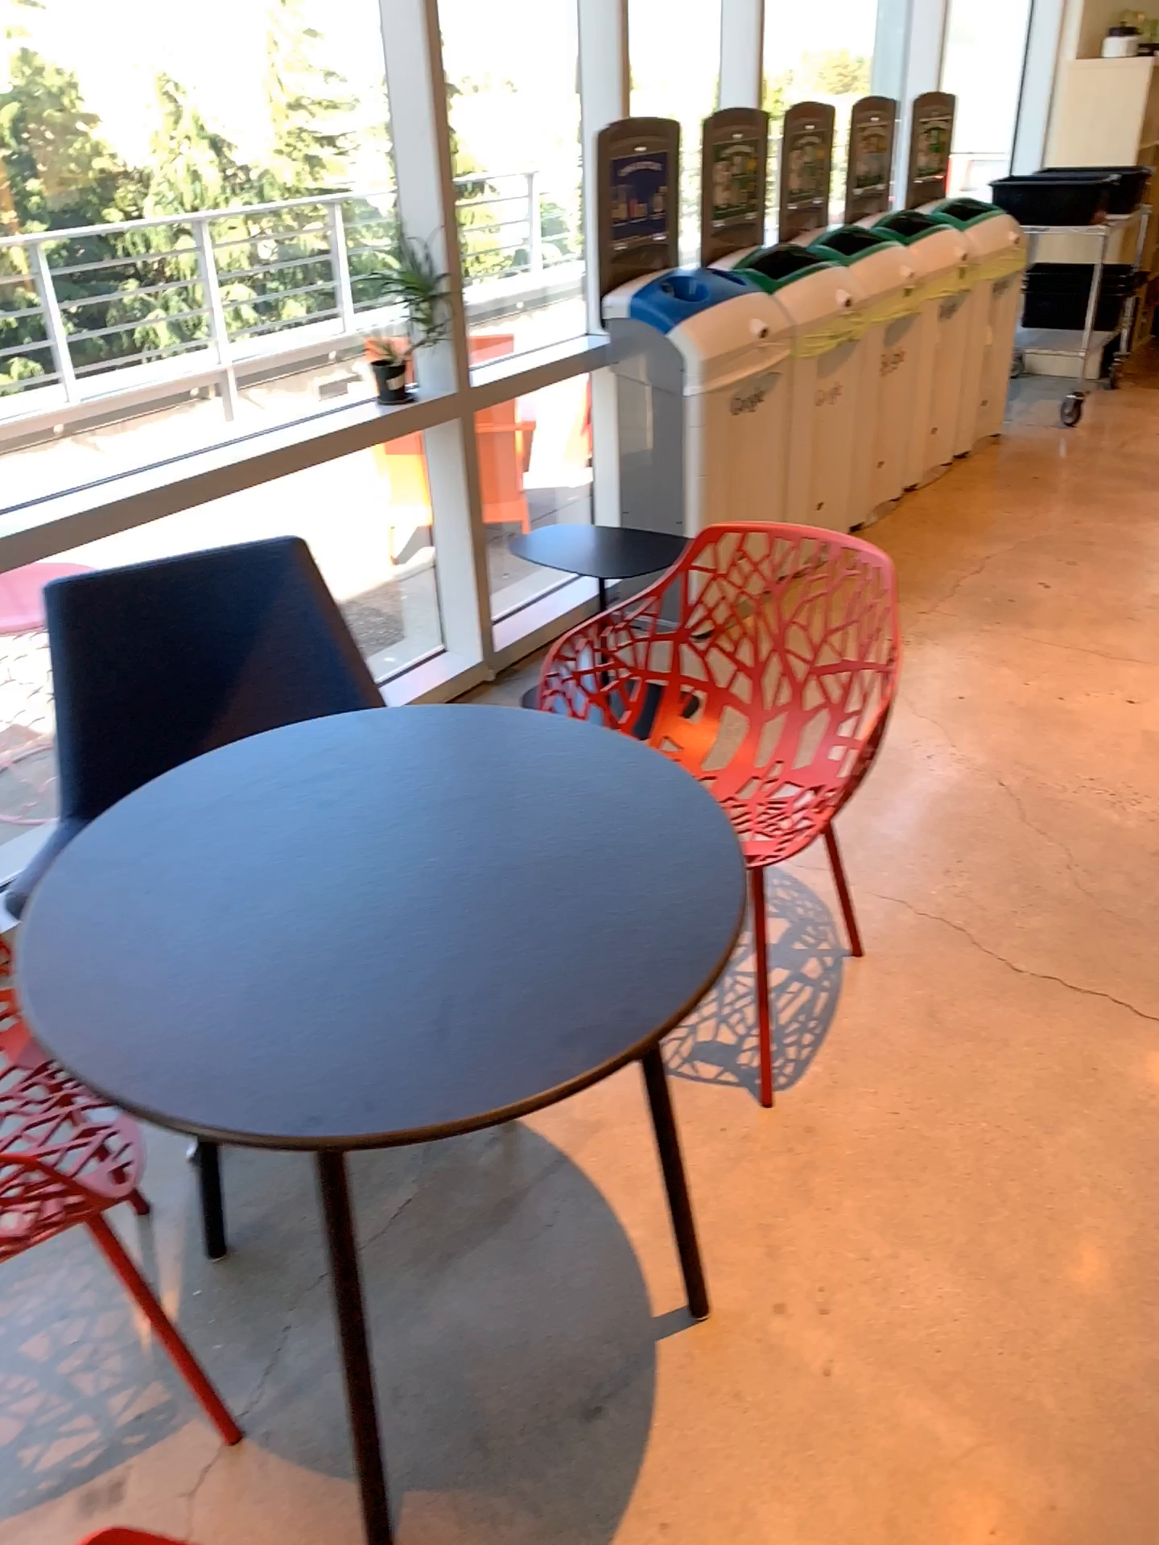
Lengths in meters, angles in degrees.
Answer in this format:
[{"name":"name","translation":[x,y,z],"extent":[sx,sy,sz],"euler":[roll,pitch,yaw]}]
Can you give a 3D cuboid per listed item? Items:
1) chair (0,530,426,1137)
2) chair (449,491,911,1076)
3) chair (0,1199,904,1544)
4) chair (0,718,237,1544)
[{"name":"chair","translation":[-0.652,0.076,2.026],"extent":[0.560,0.766,0.513],"euler":[-15,32,-21]},{"name":"chair","translation":[0.191,-0.017,2.125],"extent":[0.551,0.766,0.562],"euler":[17,35,30]},{"name":"chair","translation":[-0.127,0.791,0.765],"extent":[0.560,0.766,0.533],"euler":[4,31,11]},{"name":"chair","translation":[-0.790,0.454,1.357],"extent":[0.530,0.766,0.563],"euler":[-16,33,-22]}]
